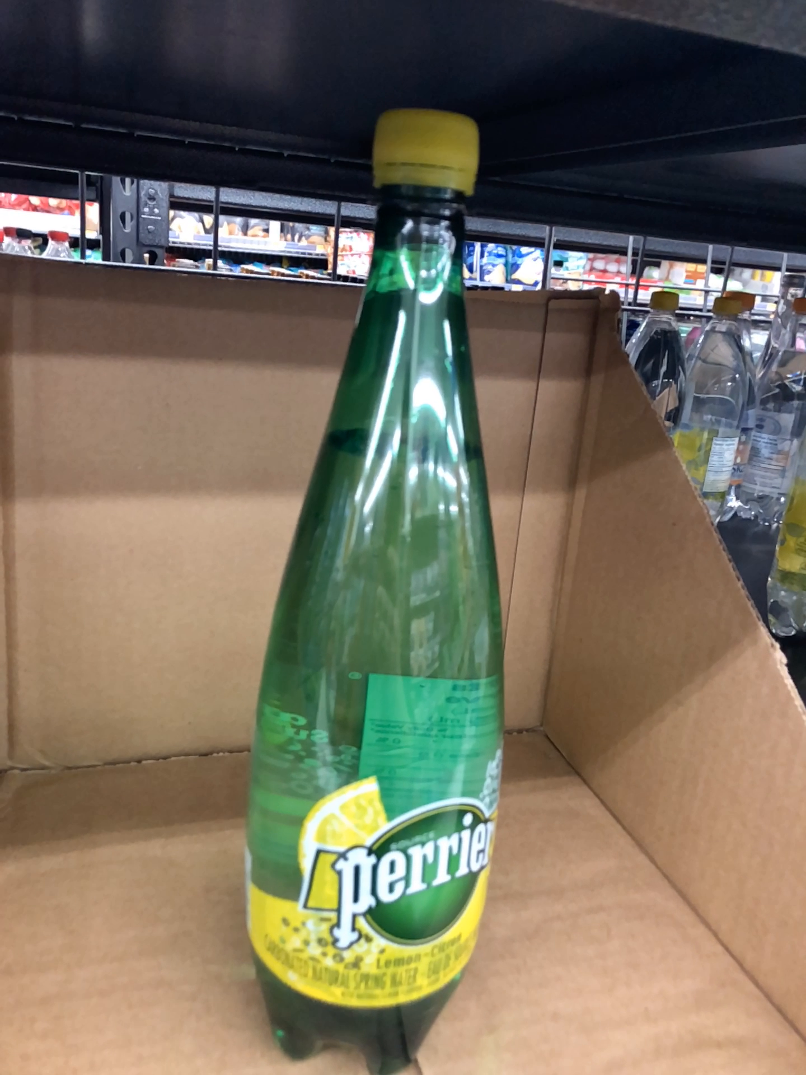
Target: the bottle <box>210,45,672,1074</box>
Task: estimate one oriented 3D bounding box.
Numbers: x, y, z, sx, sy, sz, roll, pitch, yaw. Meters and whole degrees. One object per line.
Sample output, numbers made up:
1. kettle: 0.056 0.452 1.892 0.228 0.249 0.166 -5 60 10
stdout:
1. bottle: -0.002 0.028 0.297 0.100 0.318 0.080 -2 17 -24
